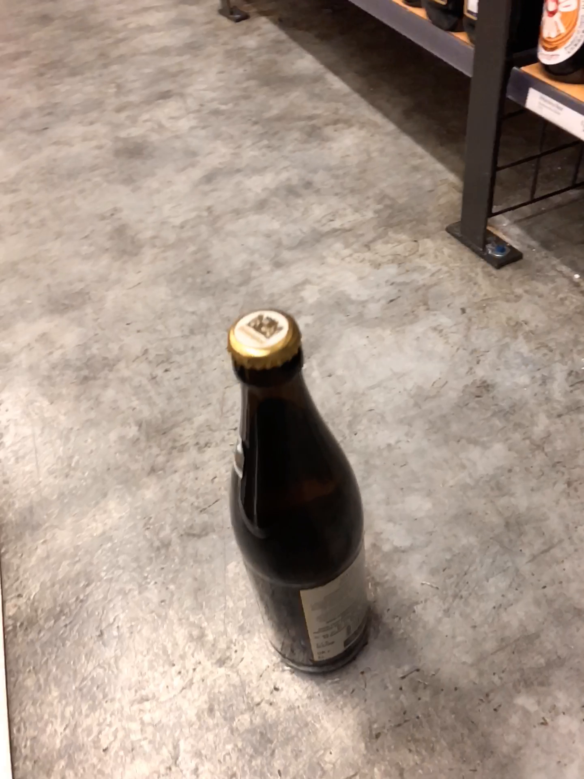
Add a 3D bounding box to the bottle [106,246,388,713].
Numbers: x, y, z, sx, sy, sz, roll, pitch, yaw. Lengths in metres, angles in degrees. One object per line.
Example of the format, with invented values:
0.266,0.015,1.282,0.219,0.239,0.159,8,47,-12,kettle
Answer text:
-0.005,0.064,0.315,0.070,0.249,0.070,-5,46,5,bottle
